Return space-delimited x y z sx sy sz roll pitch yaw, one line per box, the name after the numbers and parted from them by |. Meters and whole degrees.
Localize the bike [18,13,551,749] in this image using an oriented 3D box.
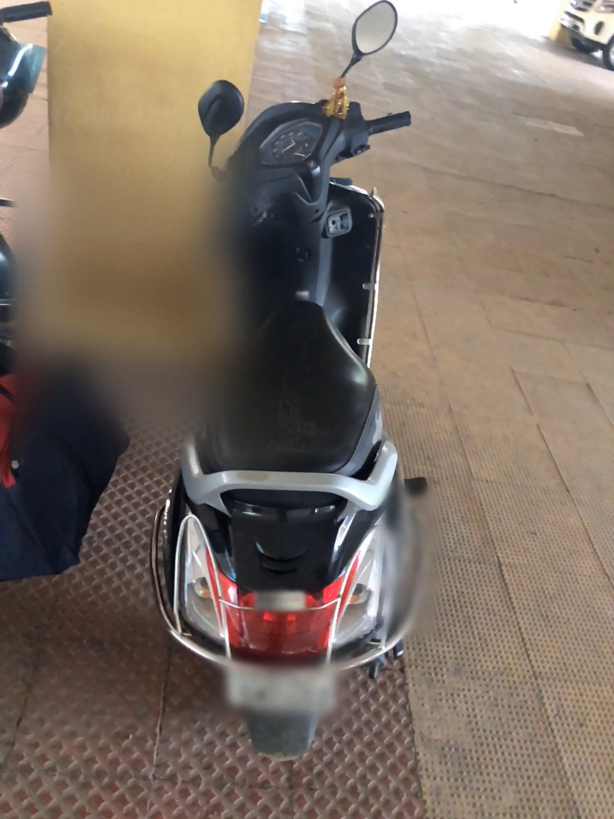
-0.187 -0.246 1.667 0.621 0.882 1.668 6 39 -12 | bike
